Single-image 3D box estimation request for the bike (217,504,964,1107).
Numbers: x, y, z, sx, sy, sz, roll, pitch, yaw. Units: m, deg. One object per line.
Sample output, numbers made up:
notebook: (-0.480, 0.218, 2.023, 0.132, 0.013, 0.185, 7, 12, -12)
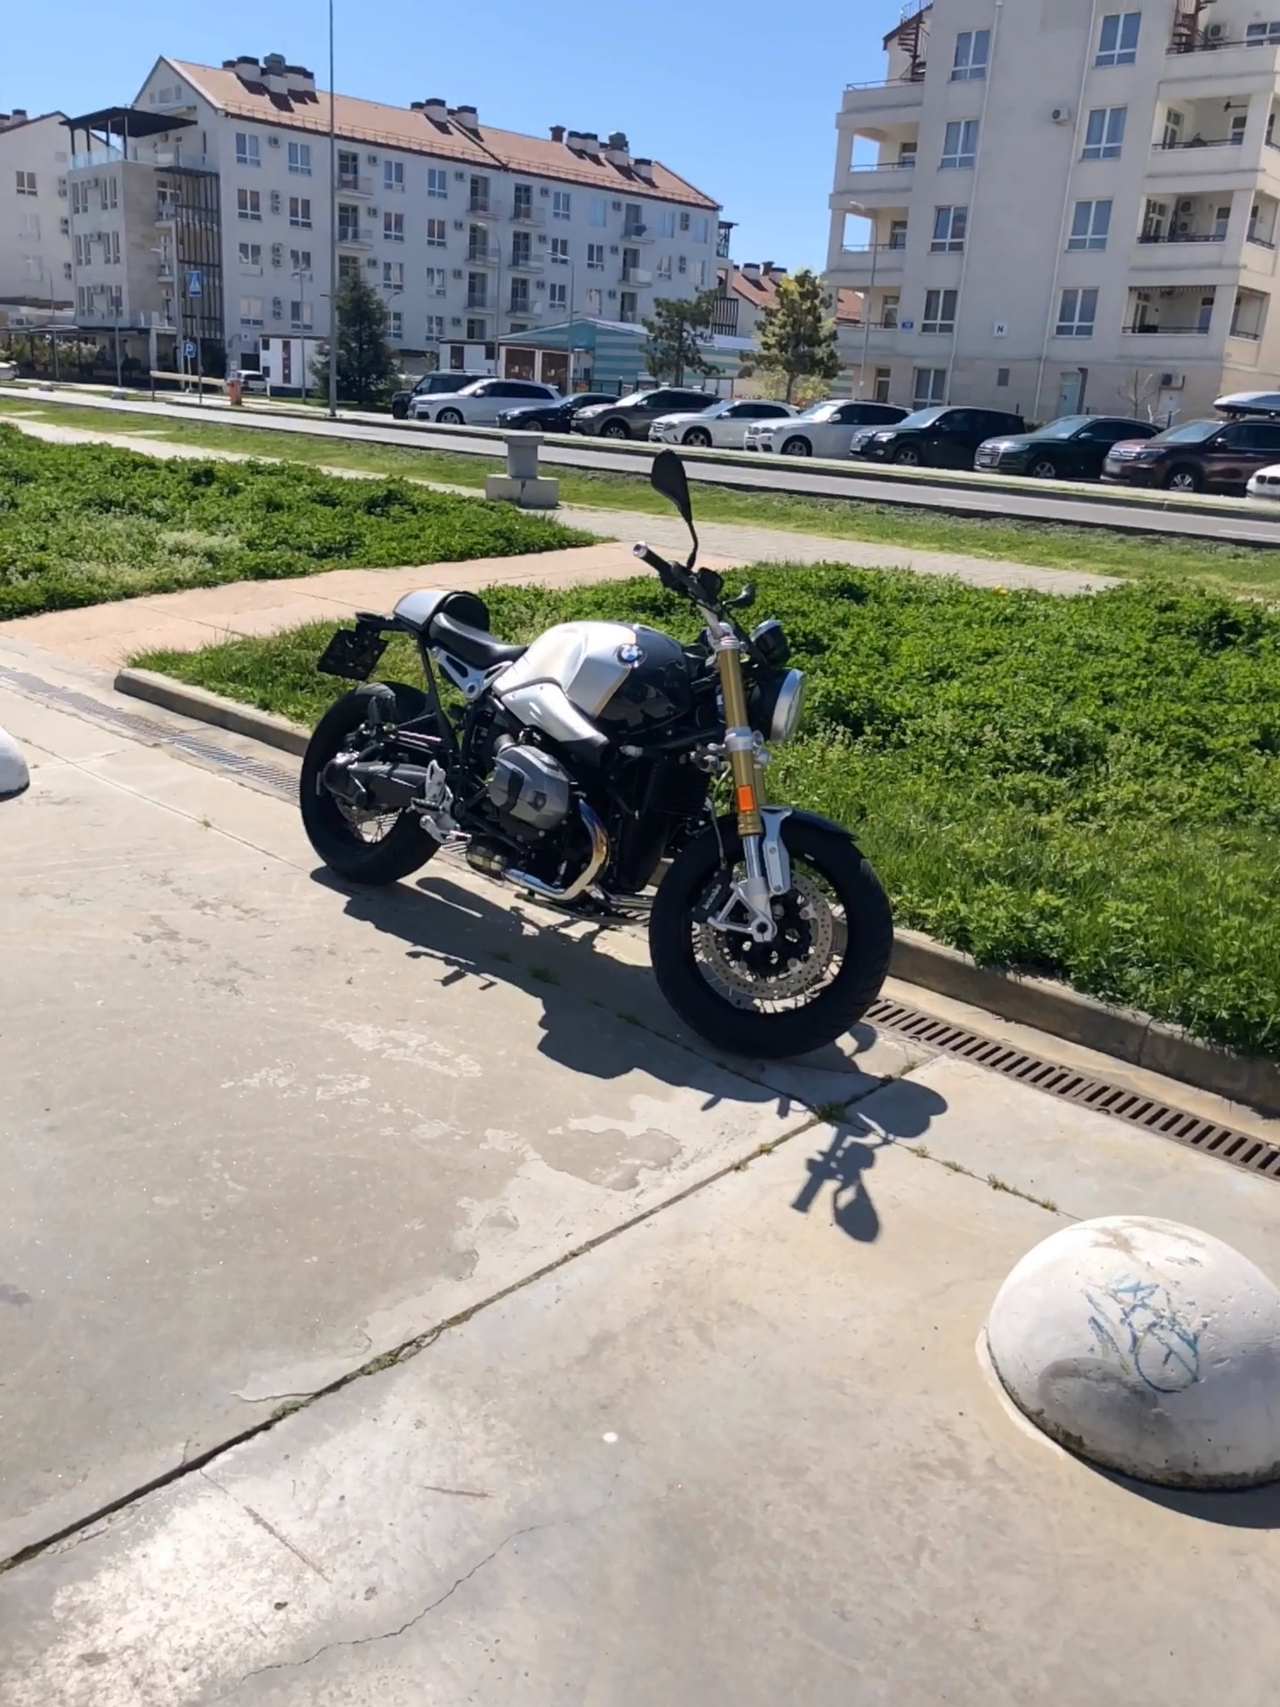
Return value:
bike: (-0.252, -0.278, 3.860, 2.070, 1.123, 0.649, 16, 21, 34)
